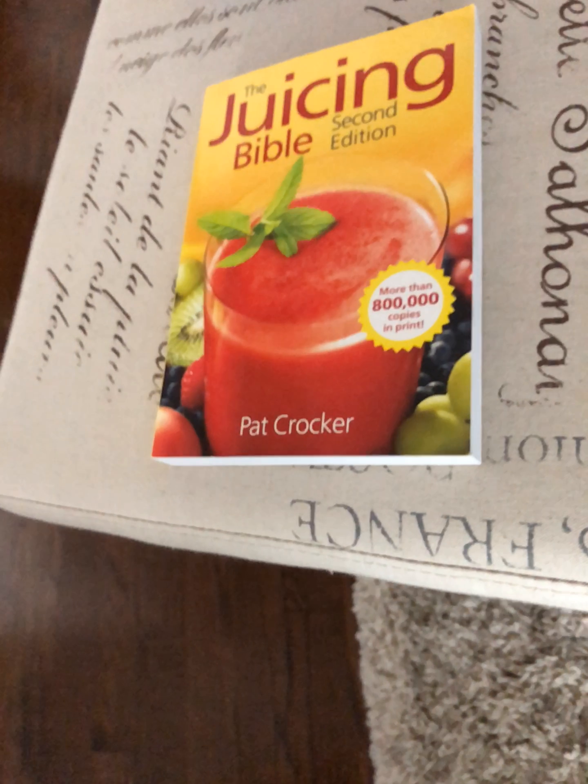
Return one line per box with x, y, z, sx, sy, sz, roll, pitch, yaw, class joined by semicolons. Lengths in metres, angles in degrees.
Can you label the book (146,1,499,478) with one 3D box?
0.017;-0.079;0.367;0.181;0.030;0.250;-4;71;26;book
